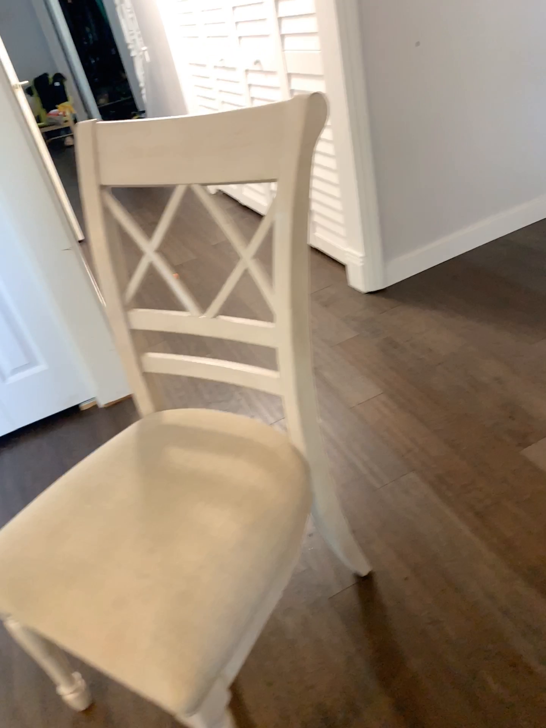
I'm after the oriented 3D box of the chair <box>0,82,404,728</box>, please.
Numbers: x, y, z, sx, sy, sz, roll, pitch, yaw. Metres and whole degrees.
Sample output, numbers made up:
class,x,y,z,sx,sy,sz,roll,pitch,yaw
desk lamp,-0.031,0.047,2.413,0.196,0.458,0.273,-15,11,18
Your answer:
class,x,y,z,sx,sy,sz,roll,pitch,yaw
chair,-0.189,0.161,0.892,0.532,0.924,0.652,10,41,31
